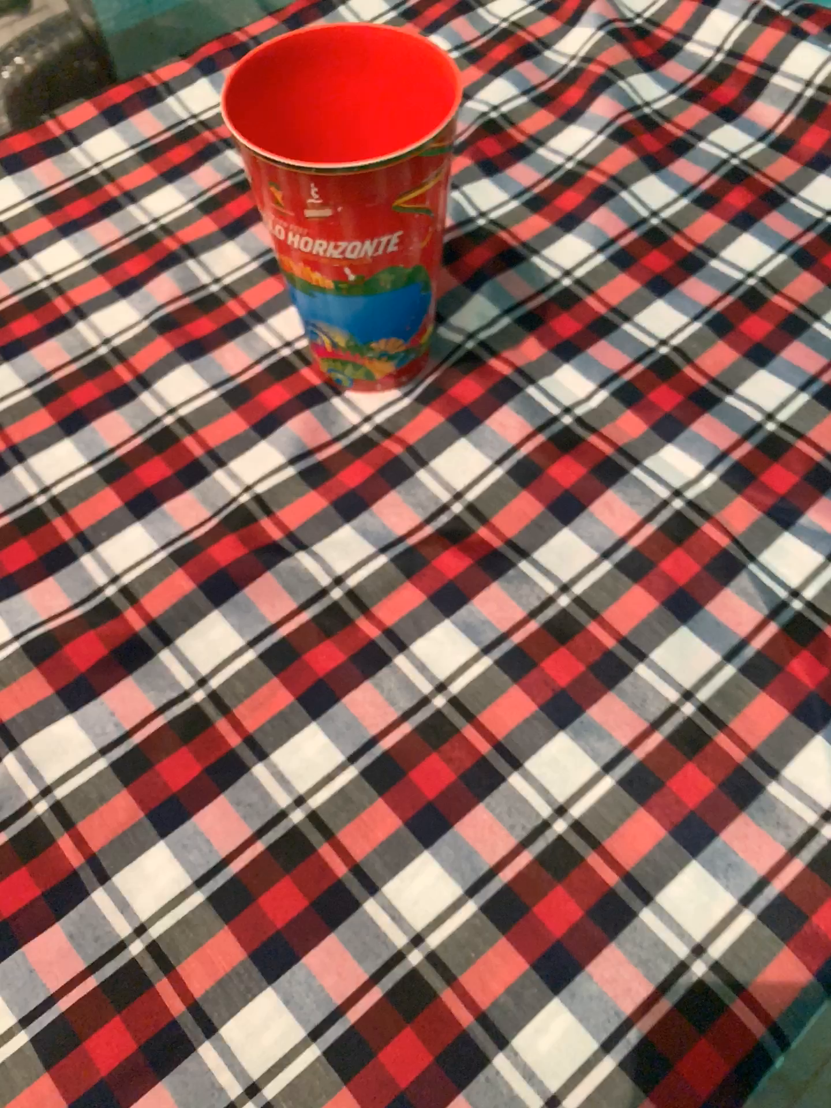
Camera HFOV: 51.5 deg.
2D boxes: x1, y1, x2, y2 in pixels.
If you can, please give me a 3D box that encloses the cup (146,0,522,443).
[{"bbox_3d":[-0.027,-0.144,0.376,0.100,0.130,0.100,-1,59,2],"label":"cup"}]
